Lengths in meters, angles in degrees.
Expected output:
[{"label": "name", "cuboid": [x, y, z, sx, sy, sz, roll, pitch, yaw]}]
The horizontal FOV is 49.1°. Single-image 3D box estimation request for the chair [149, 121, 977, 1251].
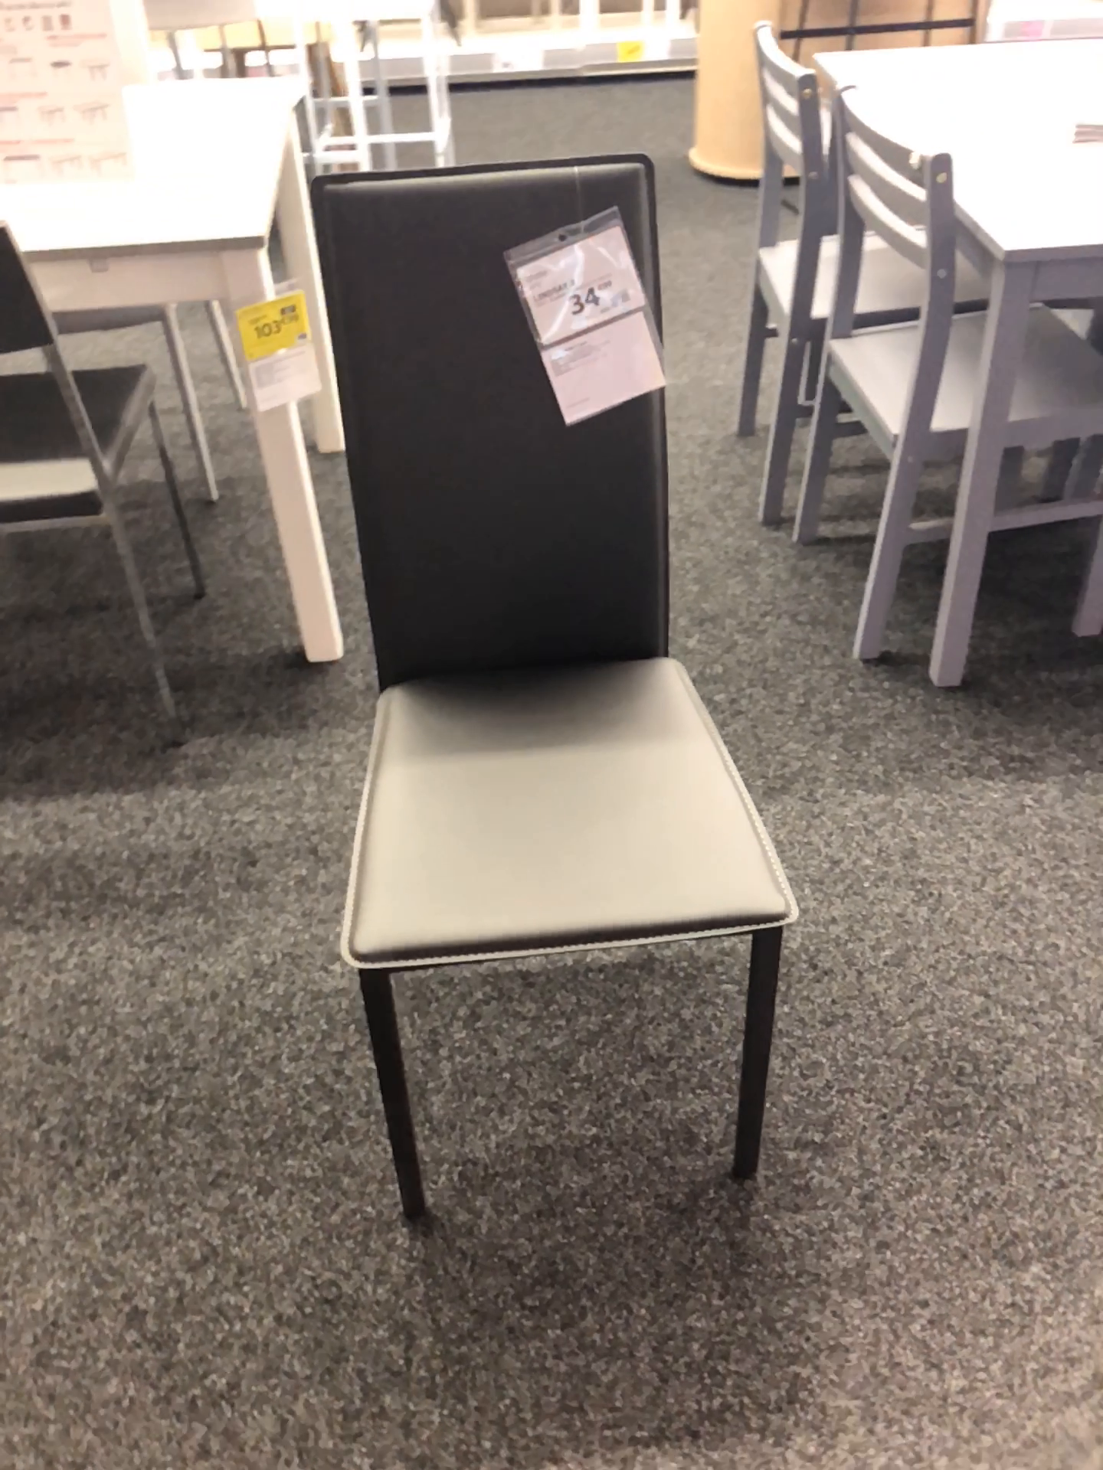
[{"label": "chair", "cuboid": [0.001, -0.014, 1.198, 0.470, 0.935, 0.563, -5, 40, -3]}]
